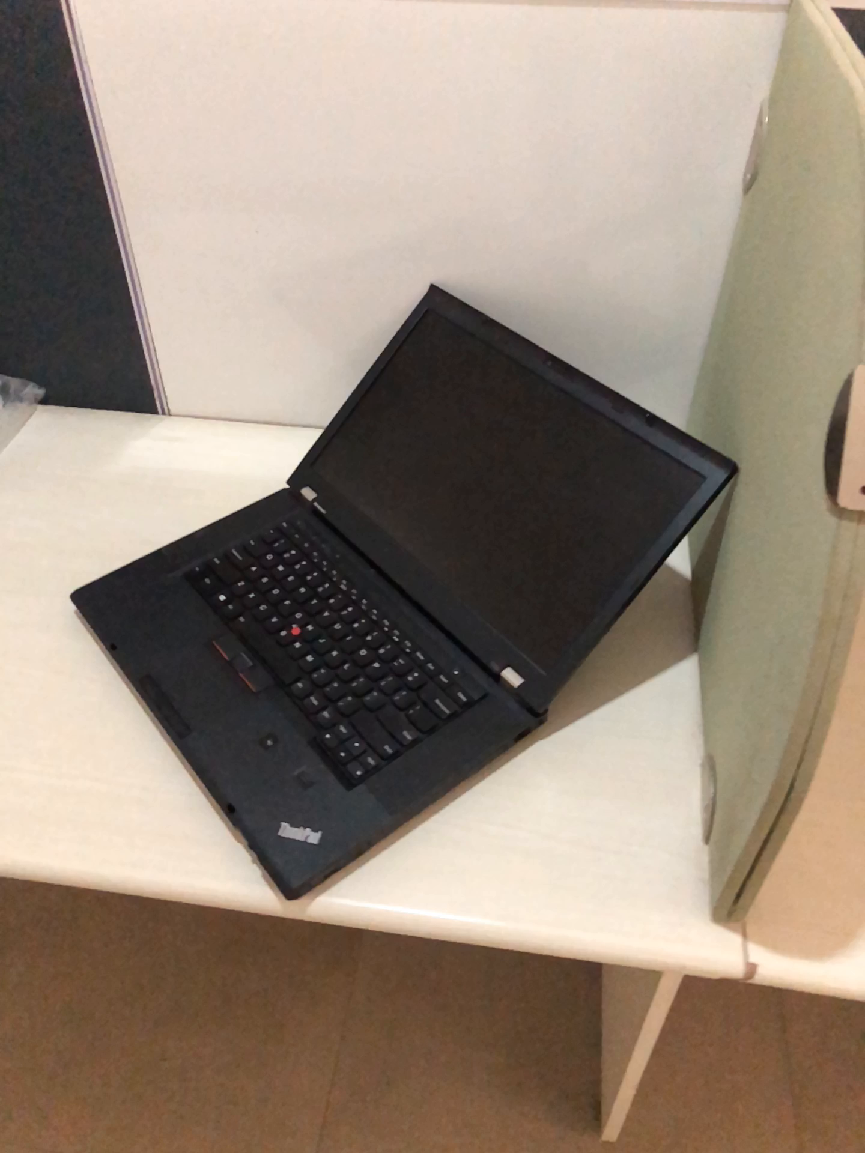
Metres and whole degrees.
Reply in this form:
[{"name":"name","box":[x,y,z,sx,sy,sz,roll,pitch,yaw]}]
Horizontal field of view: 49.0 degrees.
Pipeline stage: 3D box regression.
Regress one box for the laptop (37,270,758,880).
[{"name":"laptop","box":[-0.037,-0.043,0.763,0.412,0.142,0.354,-31,51,-22]}]
